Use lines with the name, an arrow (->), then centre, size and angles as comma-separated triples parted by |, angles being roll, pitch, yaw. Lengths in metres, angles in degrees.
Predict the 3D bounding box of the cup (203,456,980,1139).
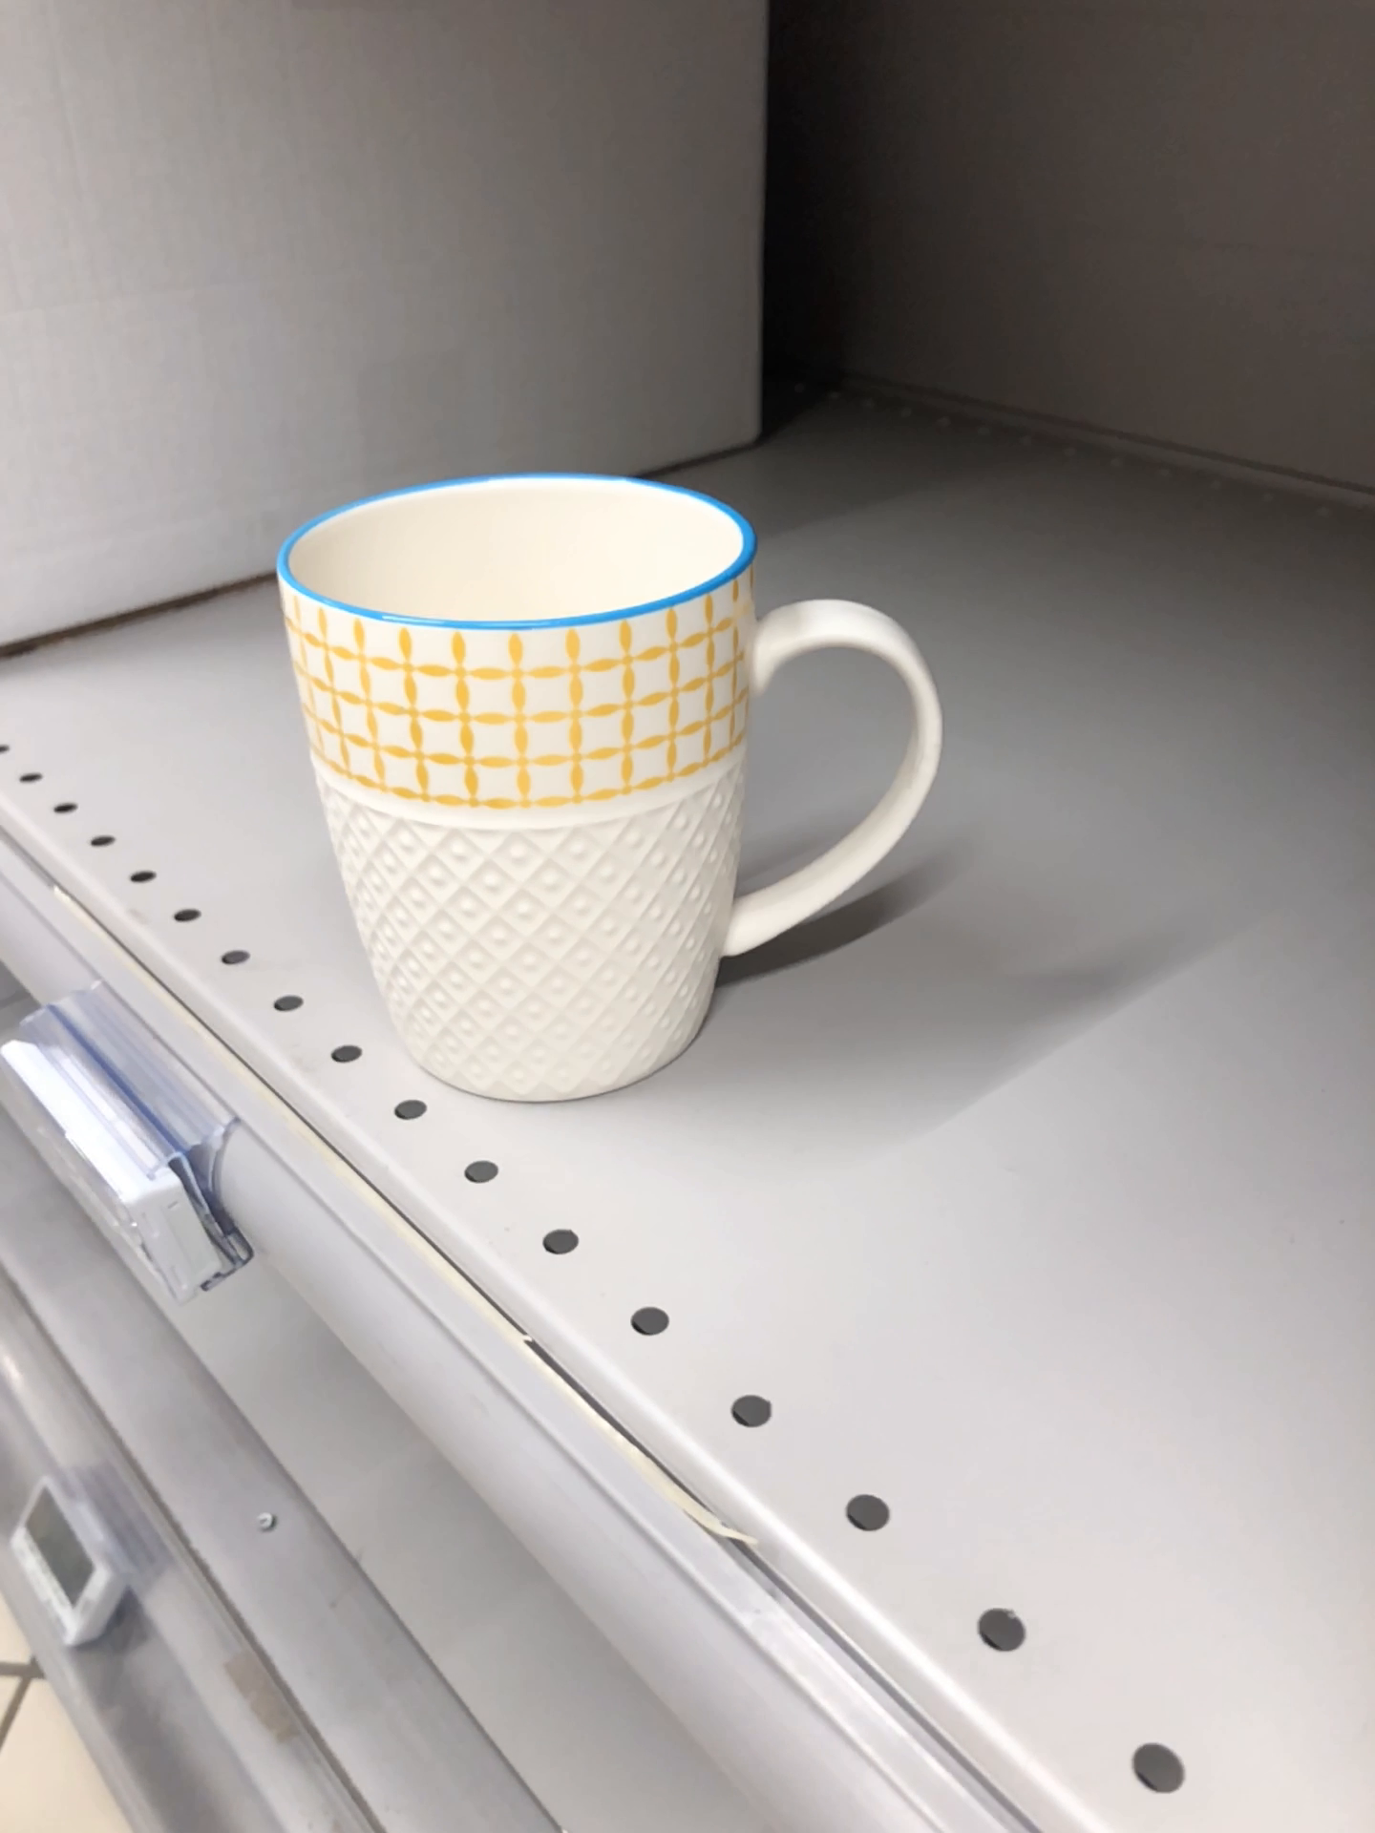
cup -> -0.015, -0.030, 0.298 | 0.118, 0.092, 0.106 | -4, 27, -2
